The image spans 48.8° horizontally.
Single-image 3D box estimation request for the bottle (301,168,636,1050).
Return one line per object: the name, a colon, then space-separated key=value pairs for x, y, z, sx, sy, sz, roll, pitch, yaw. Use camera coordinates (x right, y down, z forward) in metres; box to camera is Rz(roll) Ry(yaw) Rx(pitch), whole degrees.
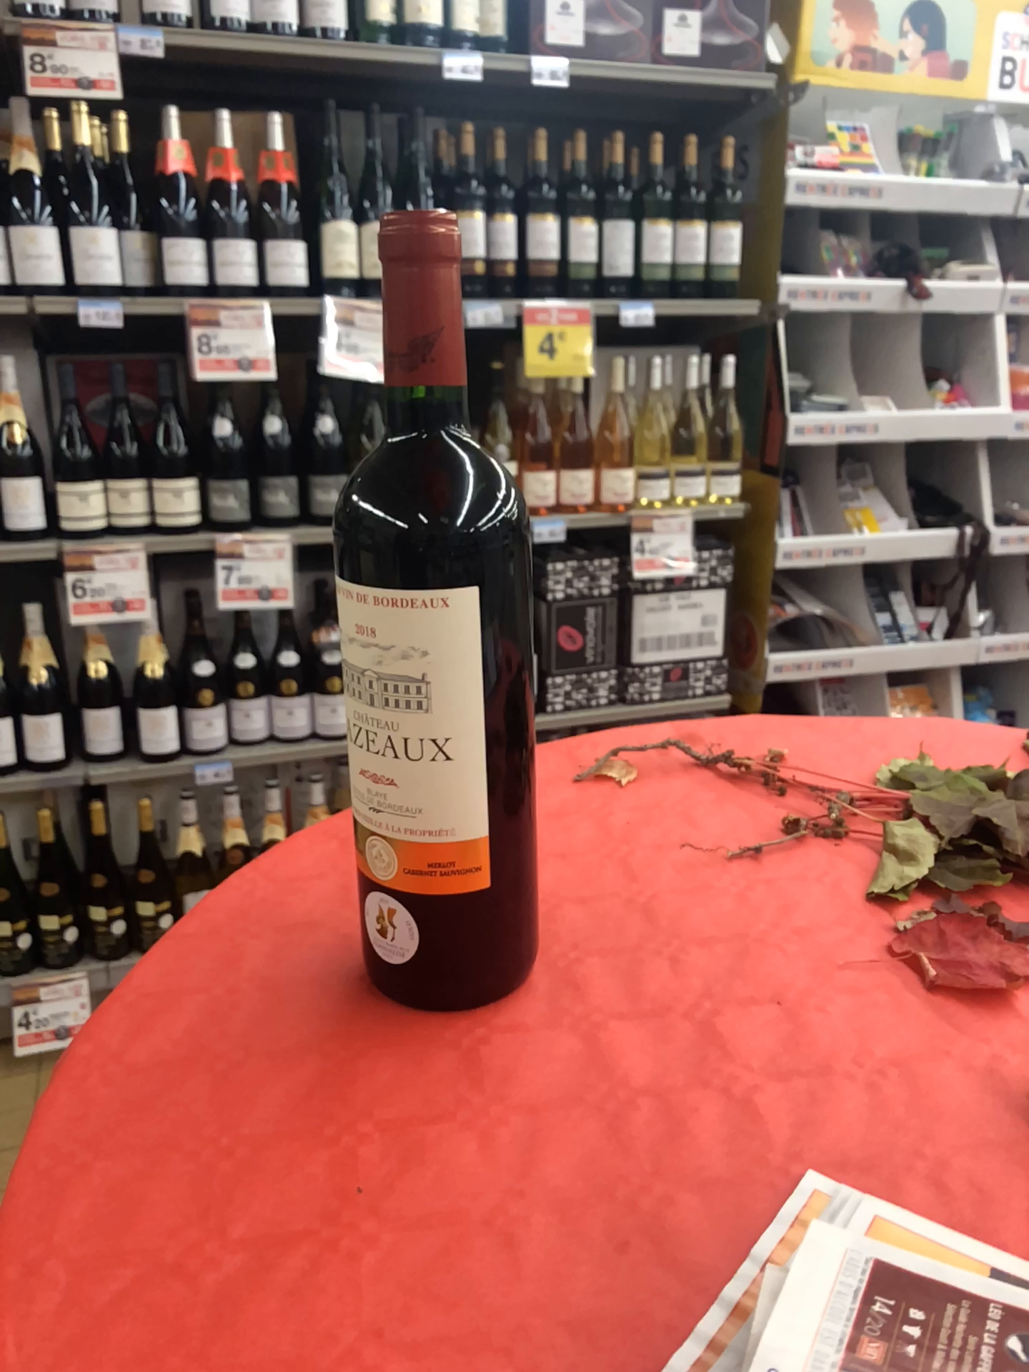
bottle: x=-0.015 y=-0.026 z=0.428 sx=0.080 sy=0.299 sz=0.080 roll=0 pitch=18 yaw=0
